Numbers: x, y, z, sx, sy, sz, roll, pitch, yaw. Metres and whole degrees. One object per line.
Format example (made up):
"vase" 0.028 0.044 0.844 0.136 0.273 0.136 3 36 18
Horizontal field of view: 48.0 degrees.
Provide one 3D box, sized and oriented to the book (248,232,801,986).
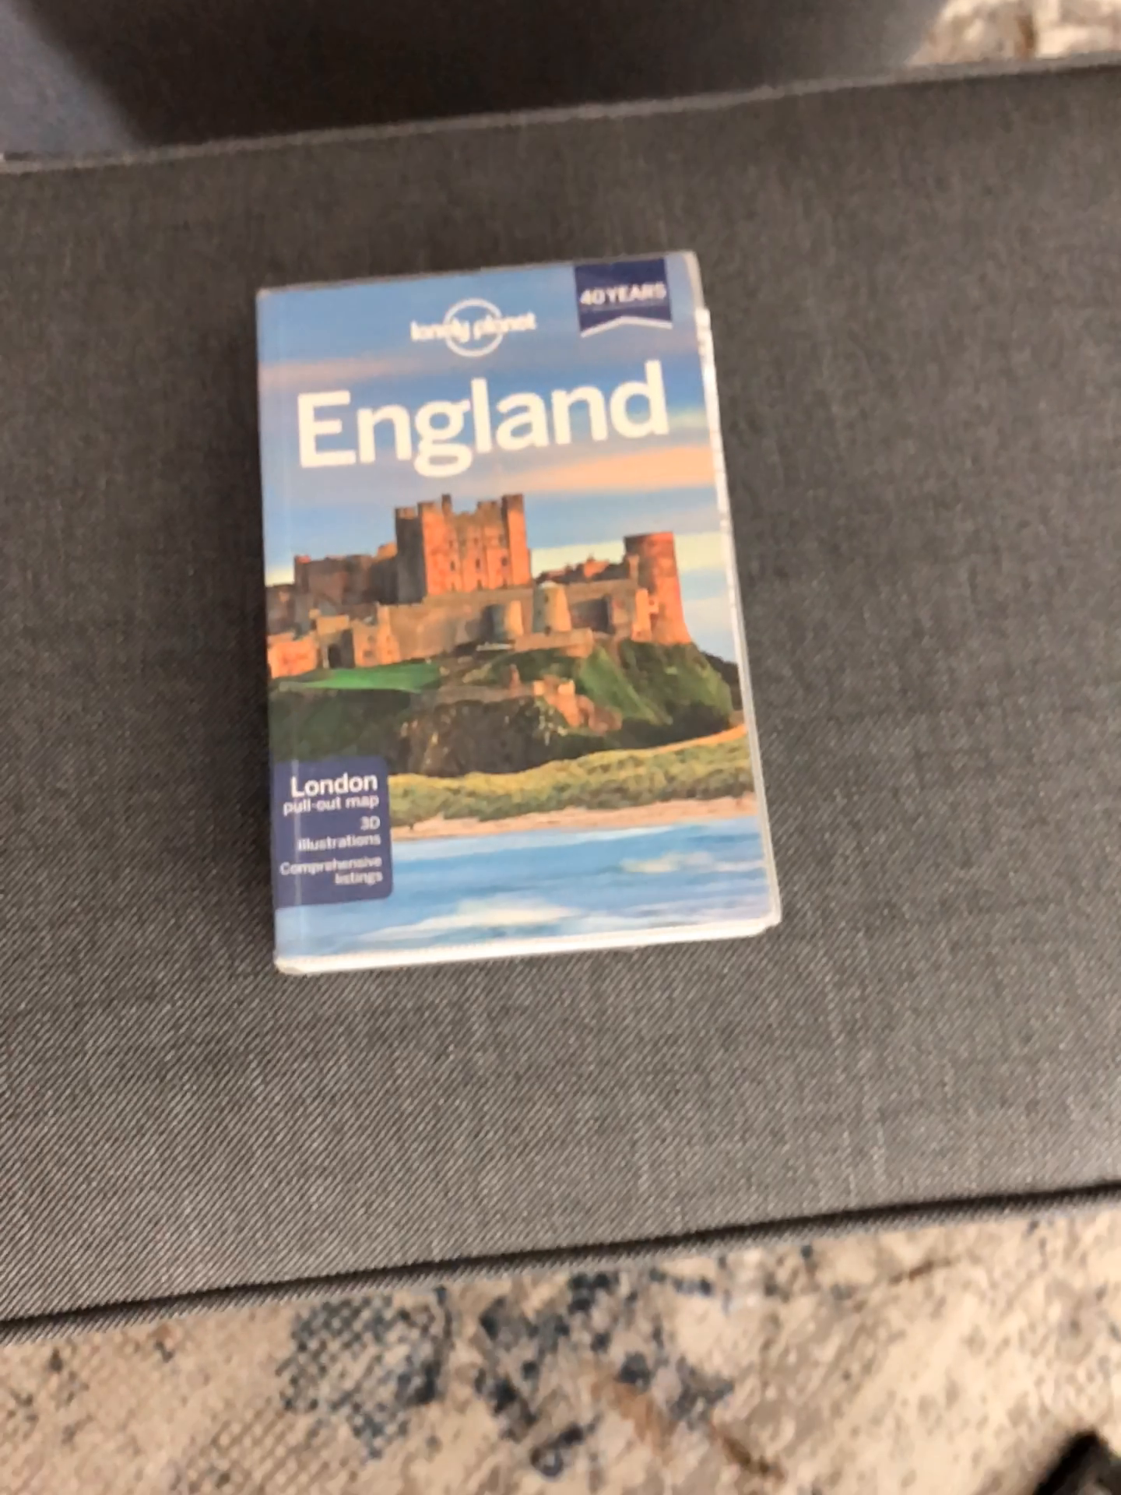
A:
"book" -0.015 -0.041 0.357 0.135 0.040 0.200 -5 75 2
